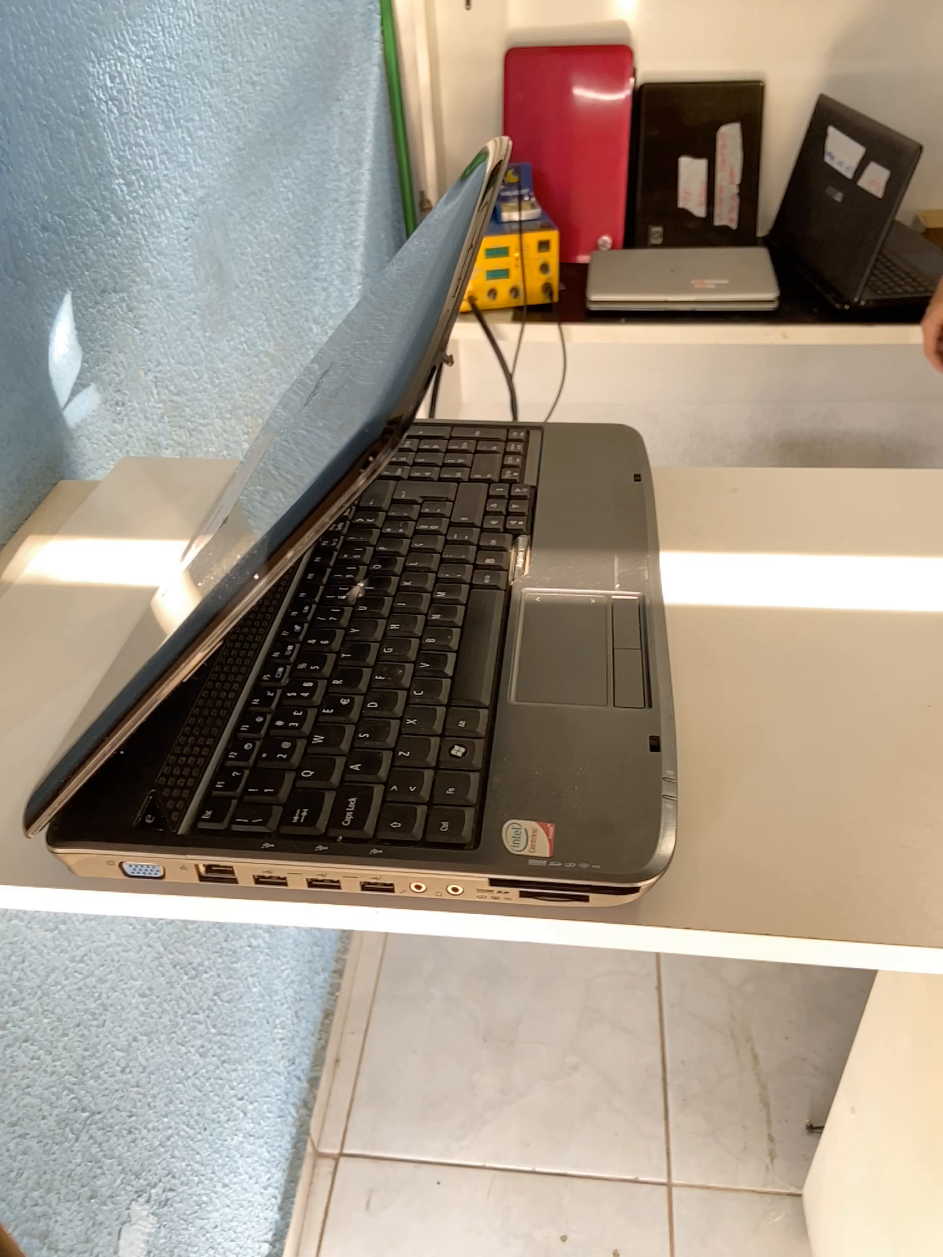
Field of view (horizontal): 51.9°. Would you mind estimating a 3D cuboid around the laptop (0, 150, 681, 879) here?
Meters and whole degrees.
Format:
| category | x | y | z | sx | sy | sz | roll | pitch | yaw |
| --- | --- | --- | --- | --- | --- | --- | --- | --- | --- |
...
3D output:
| category | x | y | z | sx | sy | sz | roll | pitch | yaw |
| --- | --- | --- | --- | --- | --- | --- | --- | --- | --- |
| laptop | -0.041 | -0.095 | 0.467 | 0.235 | 0.174 | 0.380 | 0 | 36 | 6 |
